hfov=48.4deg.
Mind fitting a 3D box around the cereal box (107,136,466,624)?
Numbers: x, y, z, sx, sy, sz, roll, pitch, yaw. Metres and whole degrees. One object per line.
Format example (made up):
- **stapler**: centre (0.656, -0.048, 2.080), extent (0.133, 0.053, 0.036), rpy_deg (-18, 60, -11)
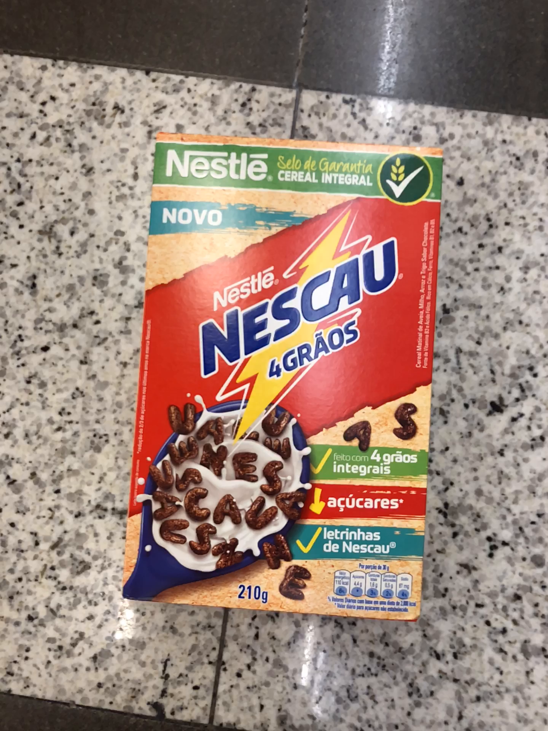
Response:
- **cereal box**: centre (0.008, 0.005, 0.337), extent (0.170, 0.050, 0.240), rpy_deg (3, 88, 2)
